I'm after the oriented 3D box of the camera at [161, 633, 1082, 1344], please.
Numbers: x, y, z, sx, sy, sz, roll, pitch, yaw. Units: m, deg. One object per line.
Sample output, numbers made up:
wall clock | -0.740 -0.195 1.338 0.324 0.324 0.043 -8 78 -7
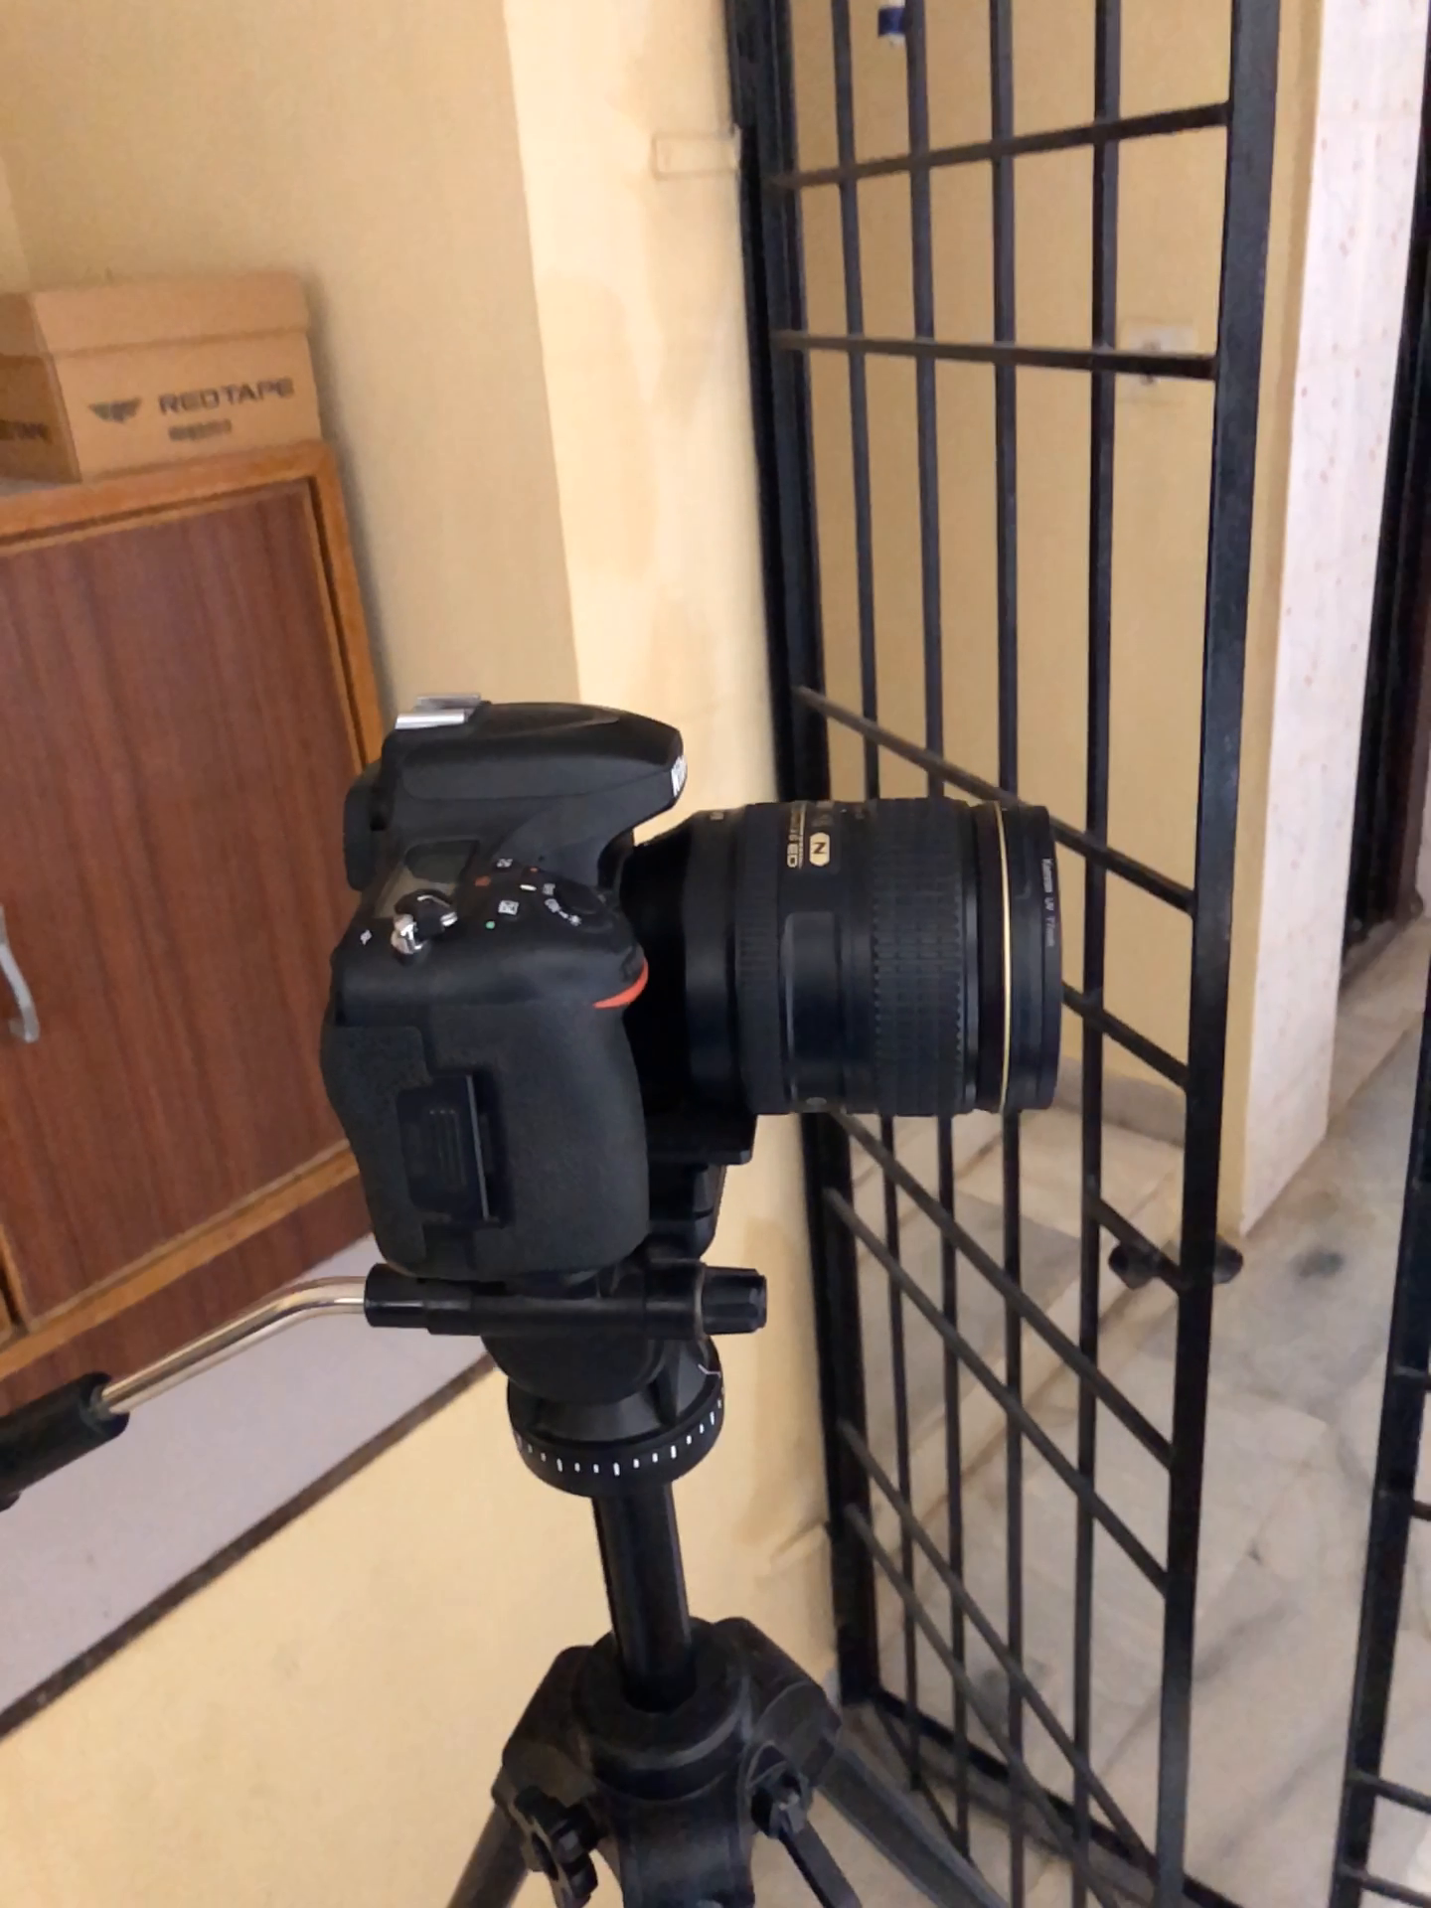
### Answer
camera | -0.007 -0.002 0.387 0.171 0.105 0.171 -2 24 7
